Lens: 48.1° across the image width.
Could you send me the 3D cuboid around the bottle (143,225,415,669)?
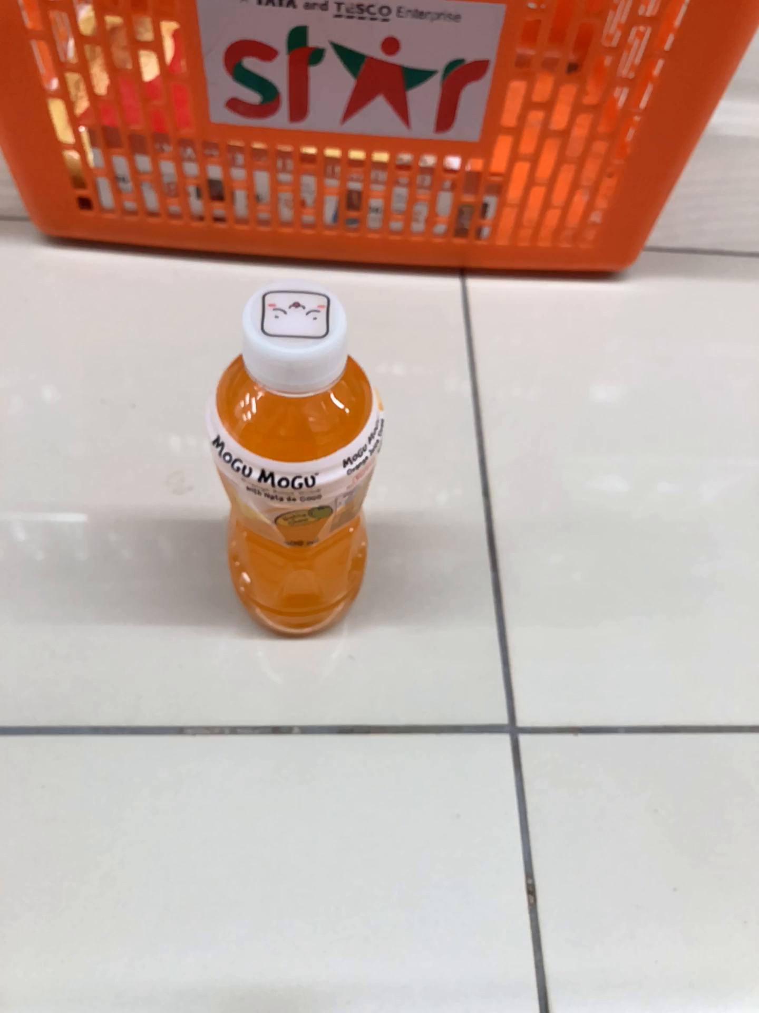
[{"bbox_3d":[-0.031,-0.008,0.301,0.060,0.159,0.066,2,58,-4],"label":"bottle"}]
